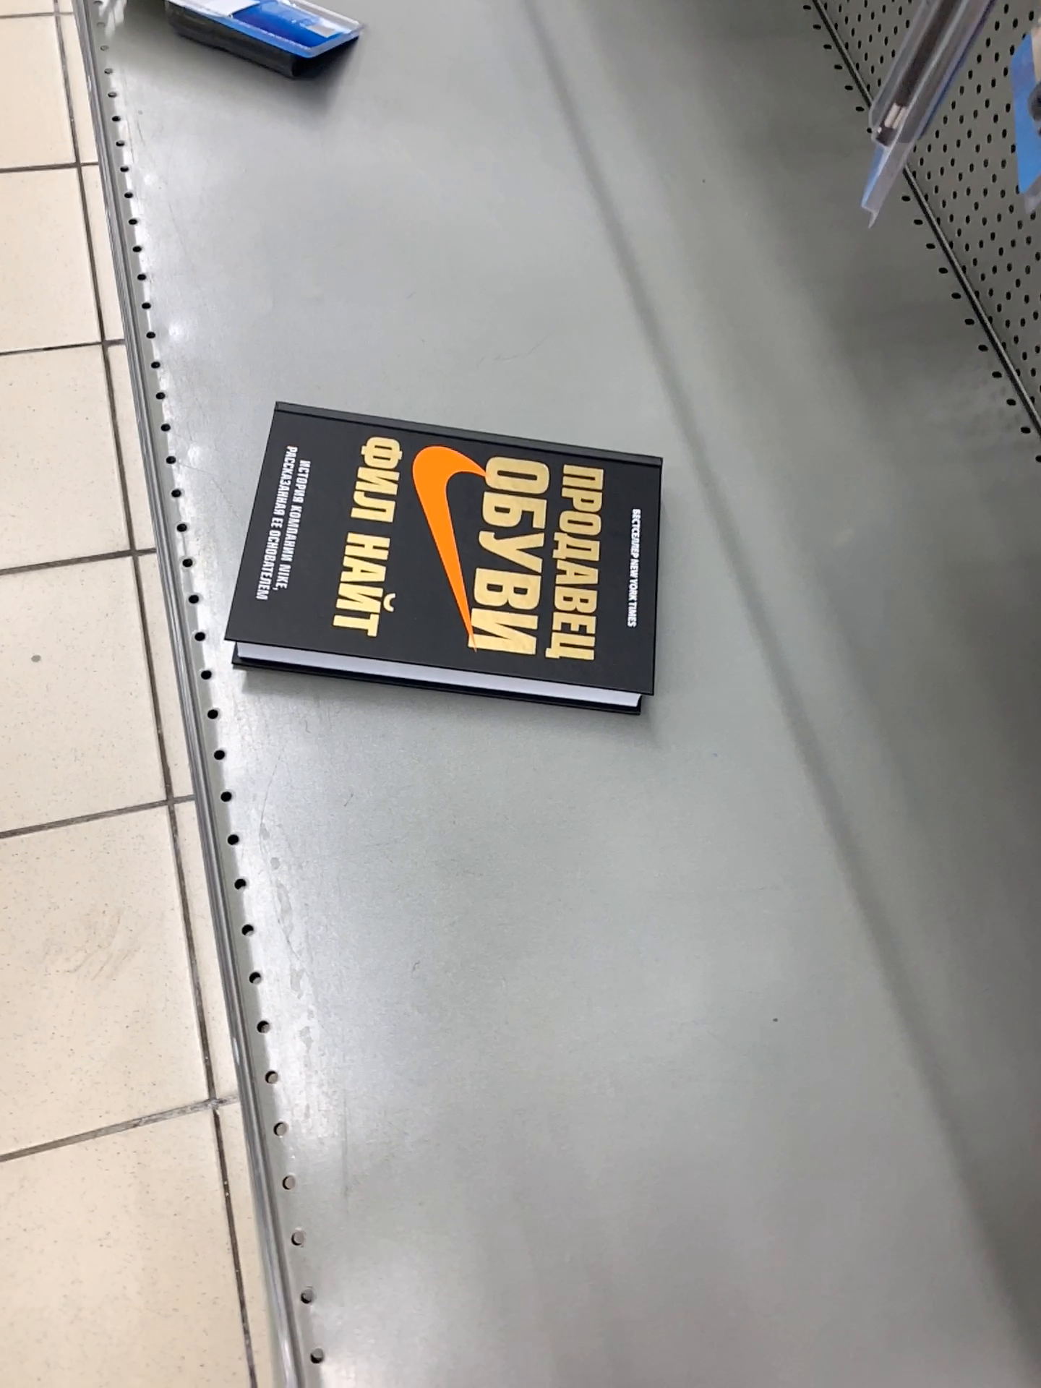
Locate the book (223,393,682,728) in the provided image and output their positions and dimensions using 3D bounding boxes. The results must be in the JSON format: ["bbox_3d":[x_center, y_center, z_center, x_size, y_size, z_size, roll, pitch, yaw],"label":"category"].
[{"bbox_3d":[-0.033,-0.081,0.639,0.249,0.049,0.166,8,65,-4],"label":"book"}]
